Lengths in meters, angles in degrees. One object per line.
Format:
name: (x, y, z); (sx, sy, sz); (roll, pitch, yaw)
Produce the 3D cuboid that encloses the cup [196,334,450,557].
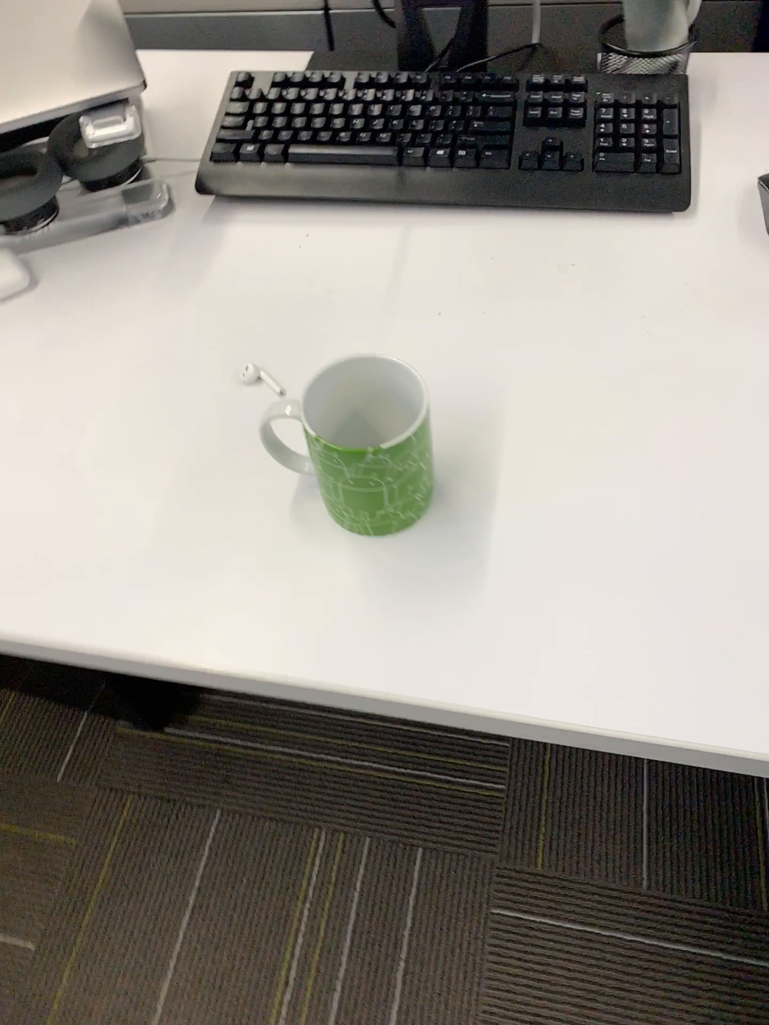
cup: (-0.032, -0.044, 0.507); (0.130, 0.090, 0.090); (9, 57, 13)
